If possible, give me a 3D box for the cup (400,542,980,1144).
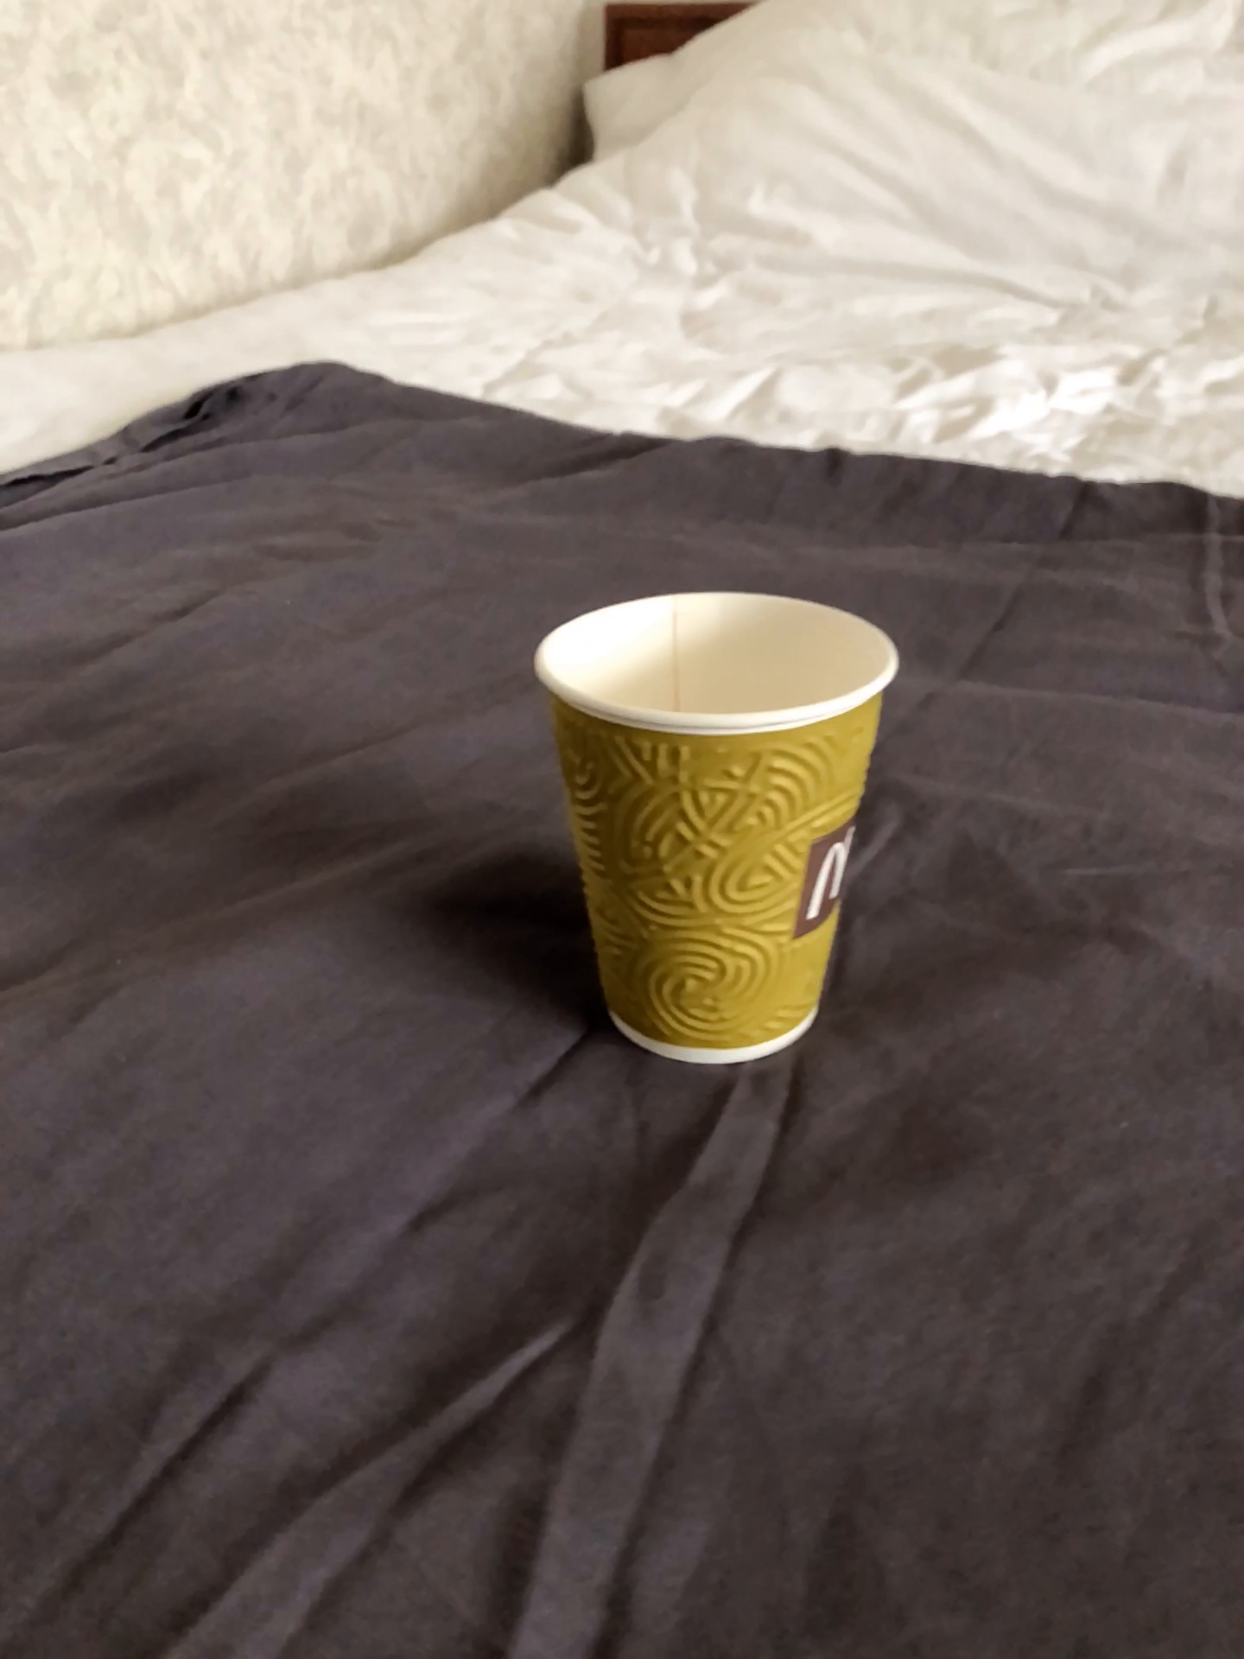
[{"bbox_3d":[0.020,-0.006,0.359,0.098,0.101,0.108,-2,27,1],"label":"cup"}]
